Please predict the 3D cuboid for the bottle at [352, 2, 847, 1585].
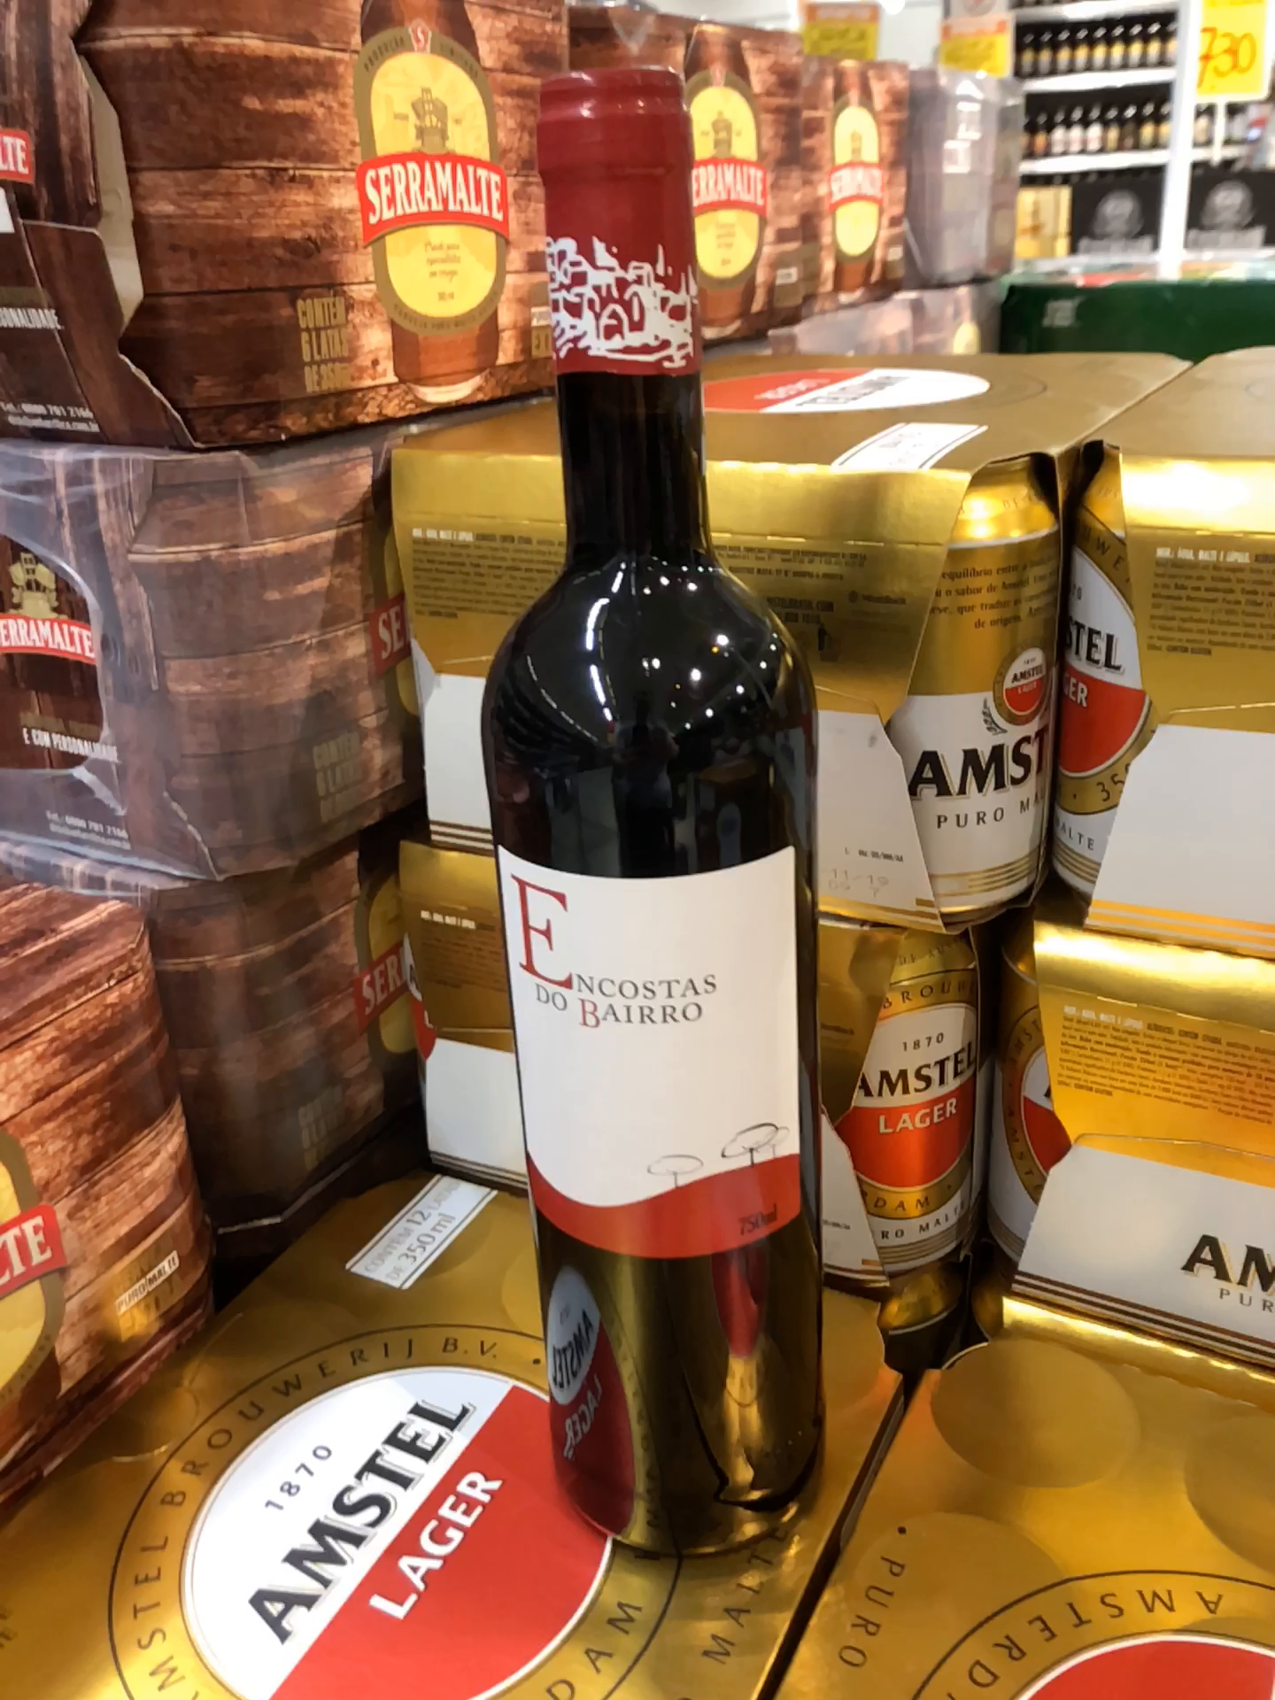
[{"bbox_3d":[0.005,0.008,0.304,0.070,0.318,0.070,-2,23,1],"label":"bottle"}]
